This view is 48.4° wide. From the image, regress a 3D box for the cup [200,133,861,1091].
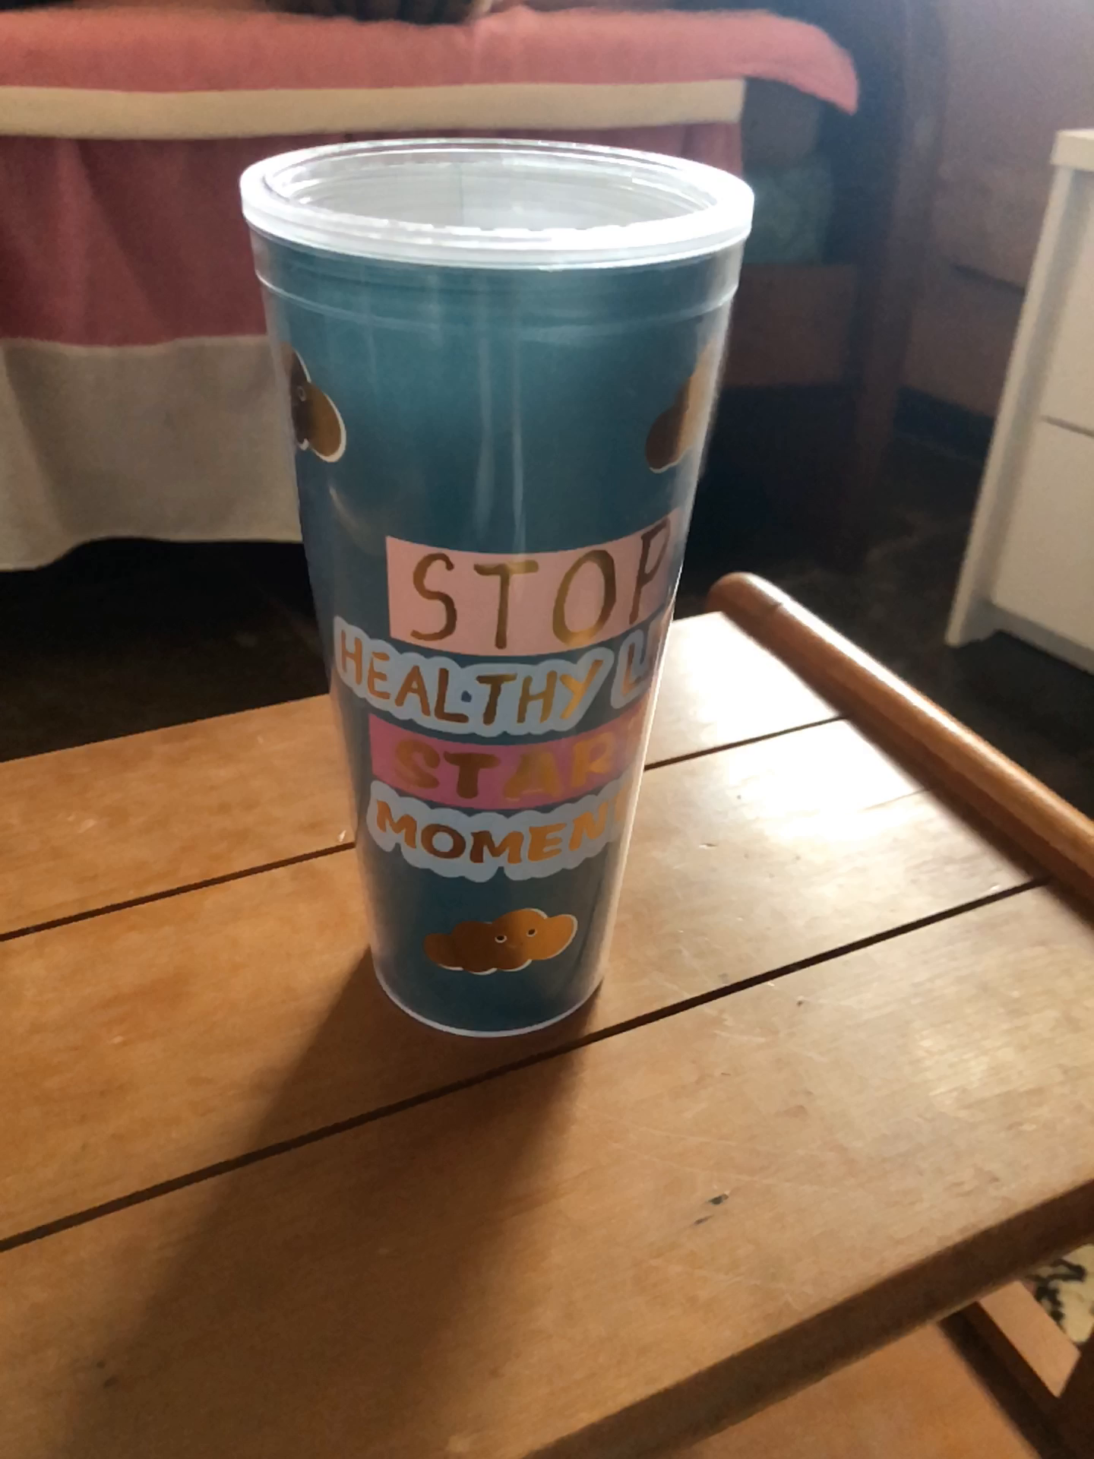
[{"bbox_3d":[-0.014,-0.028,0.274,0.100,0.179,0.101,2,32,-1],"label":"cup"}]
